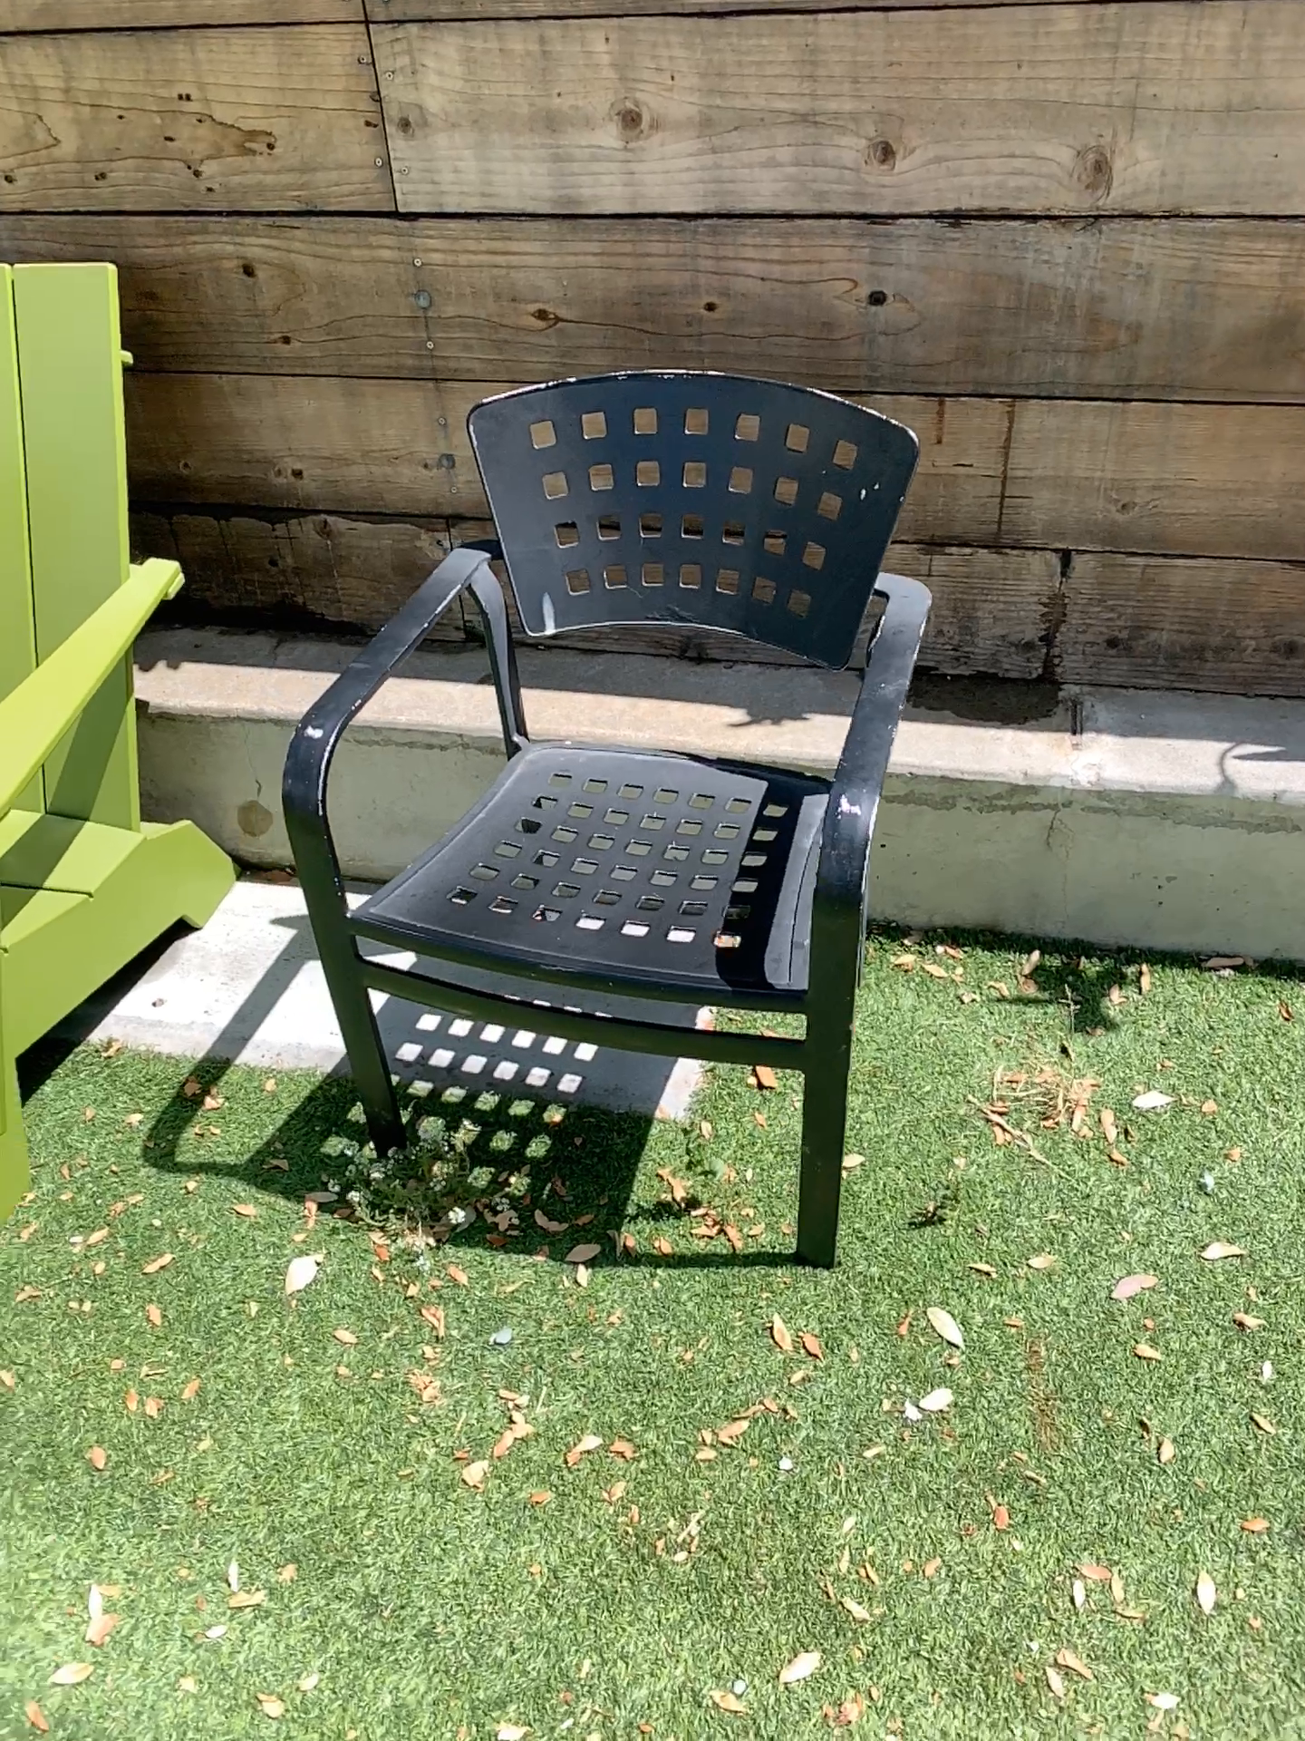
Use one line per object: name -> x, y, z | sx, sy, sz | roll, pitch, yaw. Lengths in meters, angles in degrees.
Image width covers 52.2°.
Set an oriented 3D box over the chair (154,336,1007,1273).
chair -> -0.006, -0.079, 1.365 | 0.591, 0.716, 0.522 | 9, 42, 15
